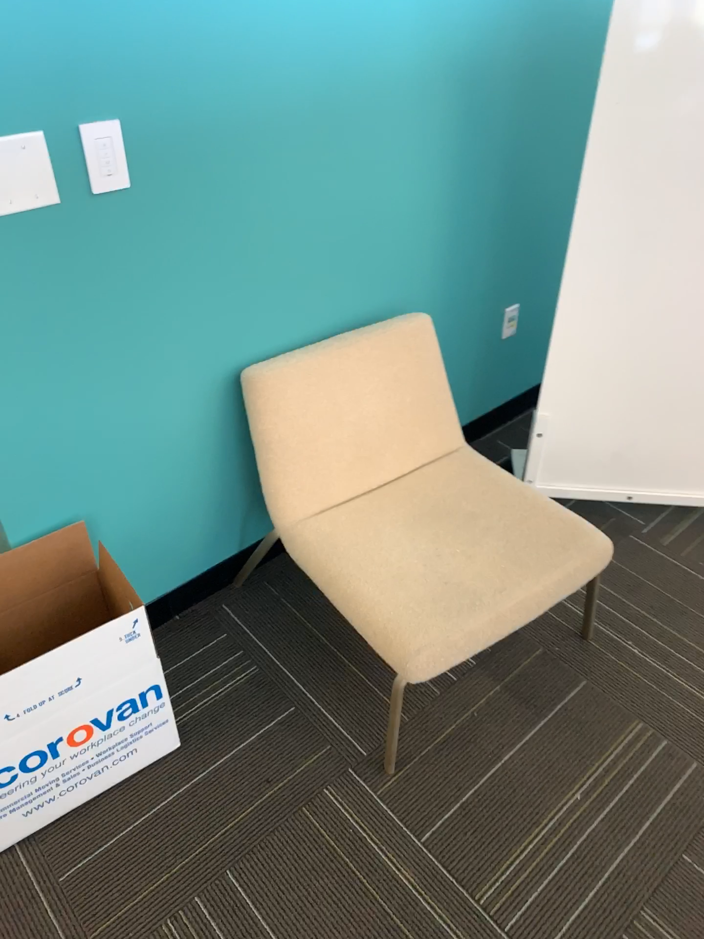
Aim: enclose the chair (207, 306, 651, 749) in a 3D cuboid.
[{"bbox_3d":[0.147,0.074,1.767,0.661,0.567,0.733,-24,44,-28],"label":"chair"}]
